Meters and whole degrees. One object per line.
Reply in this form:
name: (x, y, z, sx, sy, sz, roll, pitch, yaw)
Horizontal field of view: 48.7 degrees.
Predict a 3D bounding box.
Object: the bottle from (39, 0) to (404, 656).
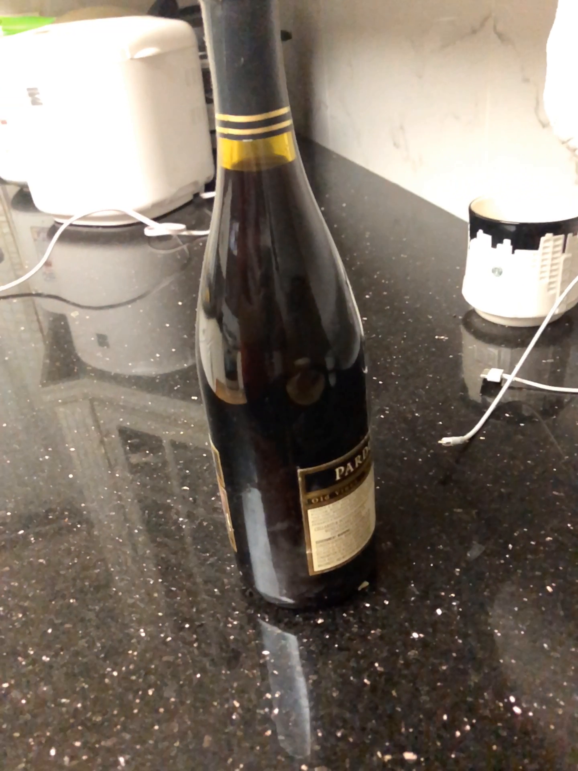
bottle: (-0.005, -0.023, 0.294, 0.090, 0.298, 0.090, -5, 31, 3)
